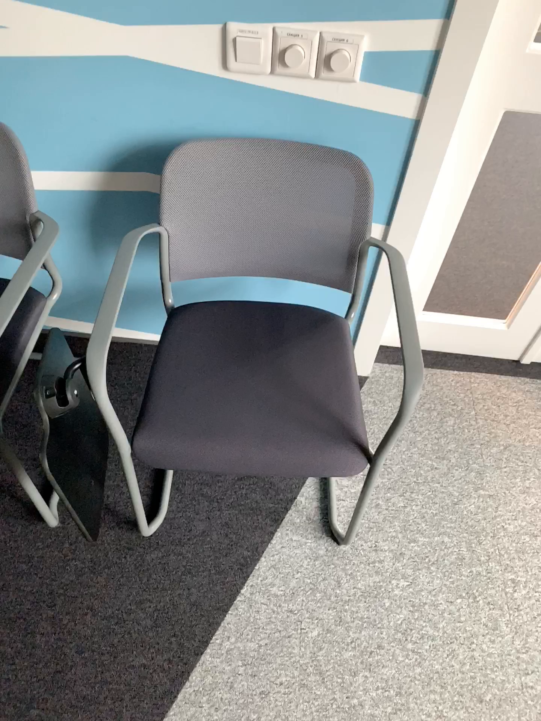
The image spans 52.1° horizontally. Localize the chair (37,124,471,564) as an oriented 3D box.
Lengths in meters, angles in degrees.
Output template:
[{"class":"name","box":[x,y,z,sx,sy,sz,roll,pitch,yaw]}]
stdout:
[{"class":"chair","box":[-0.025,-0.010,1.169,0.570,0.627,0.643,4,53,-1]}]
